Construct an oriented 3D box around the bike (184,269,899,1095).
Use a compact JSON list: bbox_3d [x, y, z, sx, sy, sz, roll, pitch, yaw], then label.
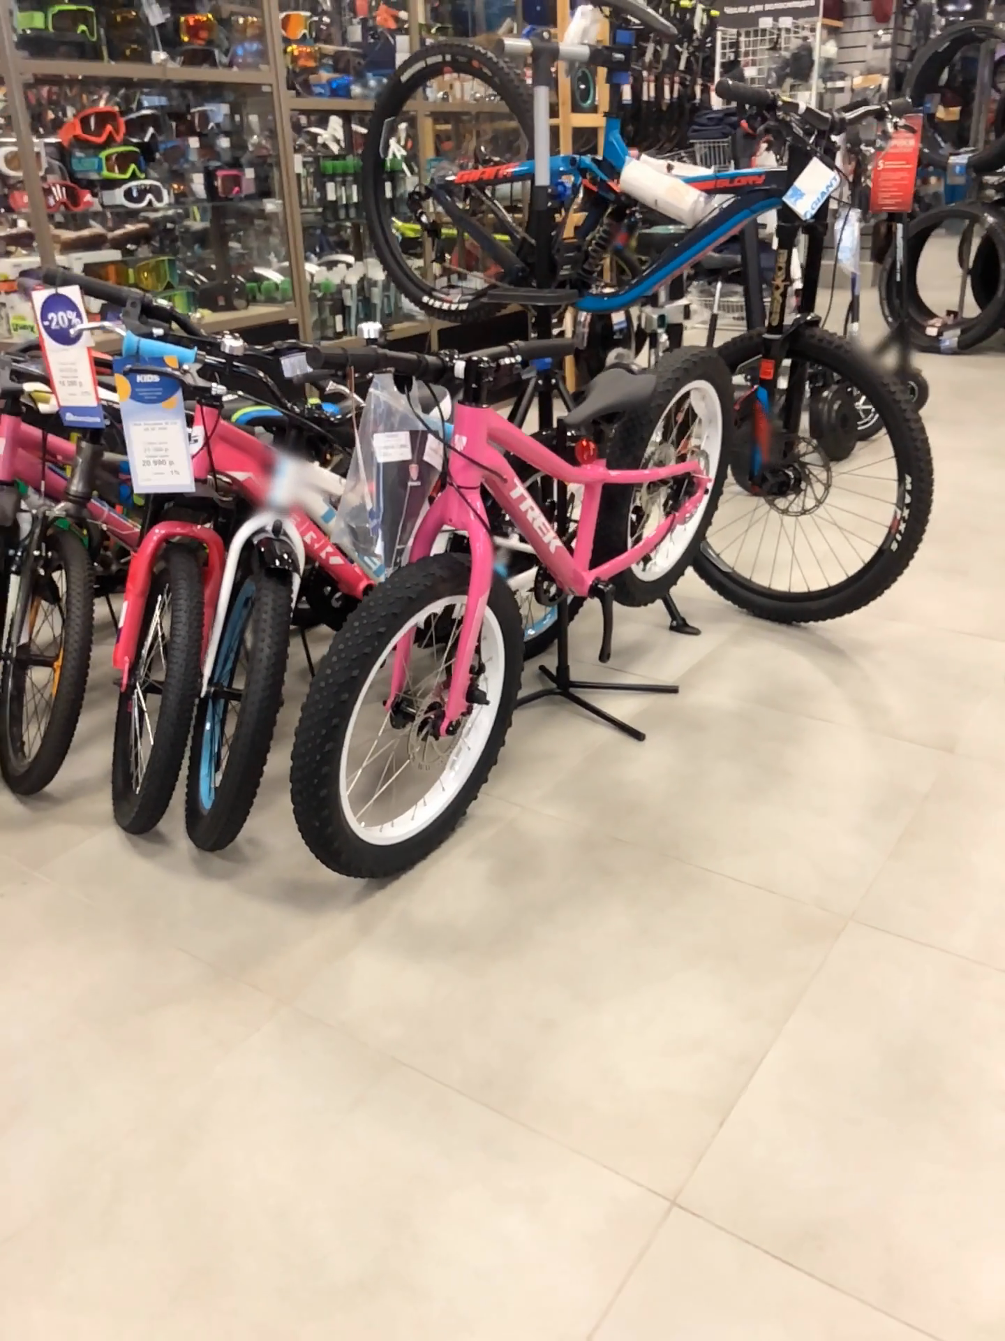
[{"bbox_3d":[0.165,-0.163,1.909,0.571,0.668,1.341,14,36,32],"label":"bike"}]
